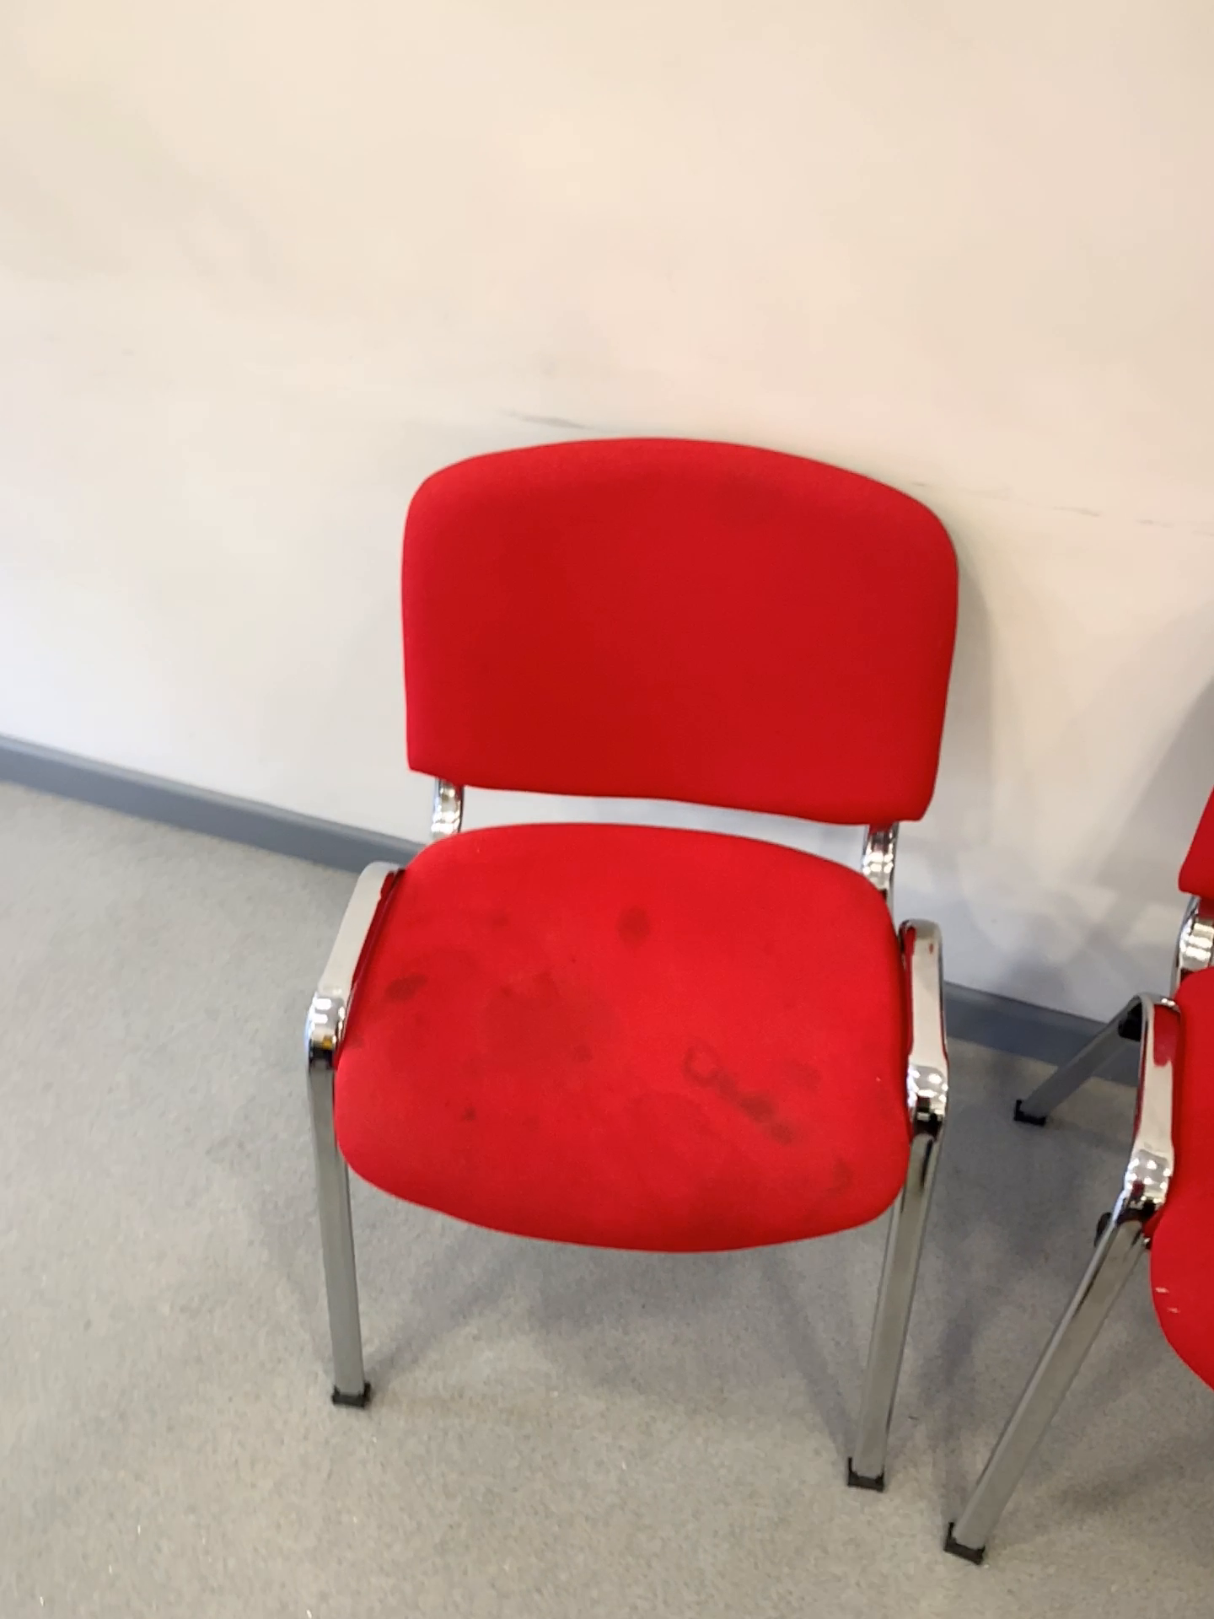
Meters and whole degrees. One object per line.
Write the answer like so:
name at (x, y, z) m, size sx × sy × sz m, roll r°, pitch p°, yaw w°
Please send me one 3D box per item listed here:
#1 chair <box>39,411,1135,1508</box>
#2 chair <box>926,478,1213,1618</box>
chair at (0.032, 0.154, 1.157) m, size 0.597 × 0.753 × 0.633 m, roll 5°, pitch 48°, yaw 7°
chair at (0.654, 0.289, 0.984) m, size 0.568 × 0.793 × 0.592 m, roll 14°, pitch 50°, yaw 15°
